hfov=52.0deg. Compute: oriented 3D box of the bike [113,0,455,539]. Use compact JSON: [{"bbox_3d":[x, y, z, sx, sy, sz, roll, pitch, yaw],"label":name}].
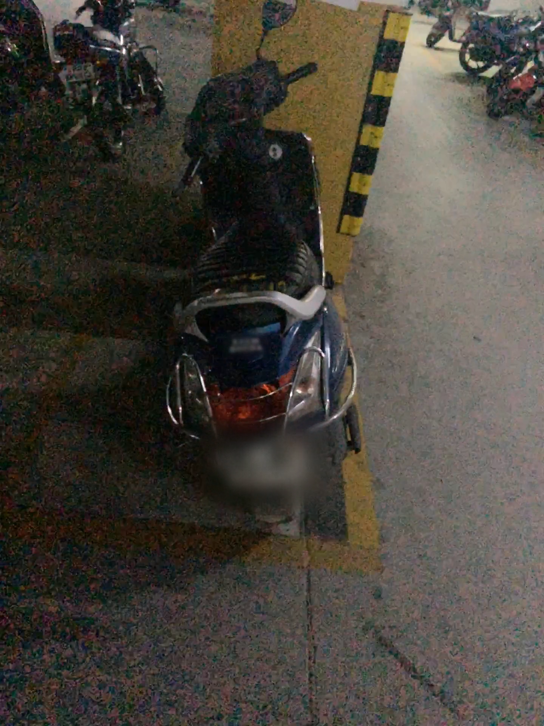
[{"bbox_3d":[-0.120,-0.386,1.746,0.631,1.063,1.276,0,44,-12],"label":"bike"}]
